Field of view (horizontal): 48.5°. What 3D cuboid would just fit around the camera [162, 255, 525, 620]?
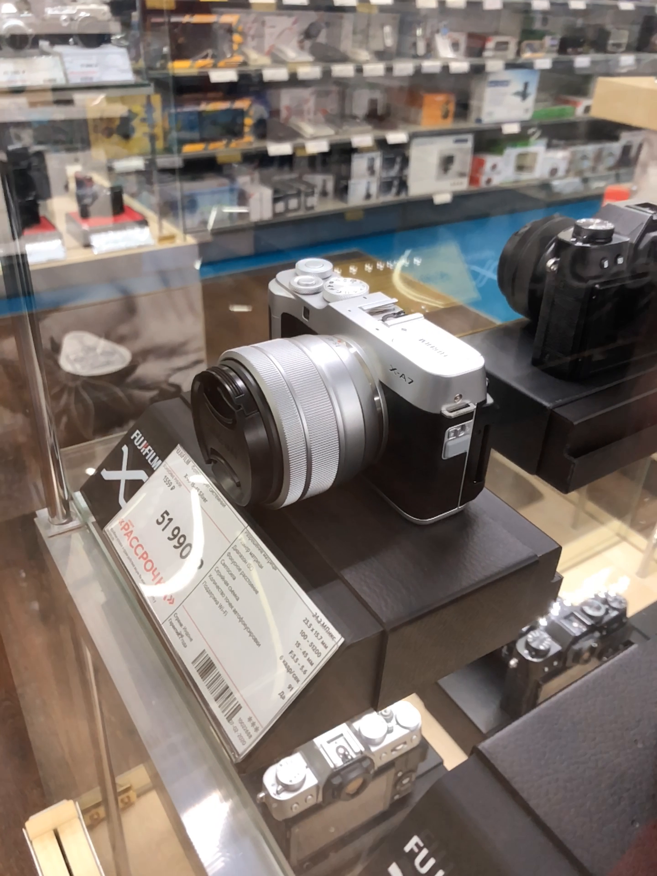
[{"bbox_3d":[-0.002,-0.011,0.298,0.084,0.080,0.126,-16,37,-27],"label":"camera"}]

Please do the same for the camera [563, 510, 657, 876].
[{"bbox_3d":[0.130,0.091,0.139,0.096,0.080,0.115,-17,38,-28],"label":"camera"}]

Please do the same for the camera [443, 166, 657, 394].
[{"bbox_3d":[0.144,-0.094,0.405,0.115,0.080,0.097,-18,38,-29],"label":"camera"}]
